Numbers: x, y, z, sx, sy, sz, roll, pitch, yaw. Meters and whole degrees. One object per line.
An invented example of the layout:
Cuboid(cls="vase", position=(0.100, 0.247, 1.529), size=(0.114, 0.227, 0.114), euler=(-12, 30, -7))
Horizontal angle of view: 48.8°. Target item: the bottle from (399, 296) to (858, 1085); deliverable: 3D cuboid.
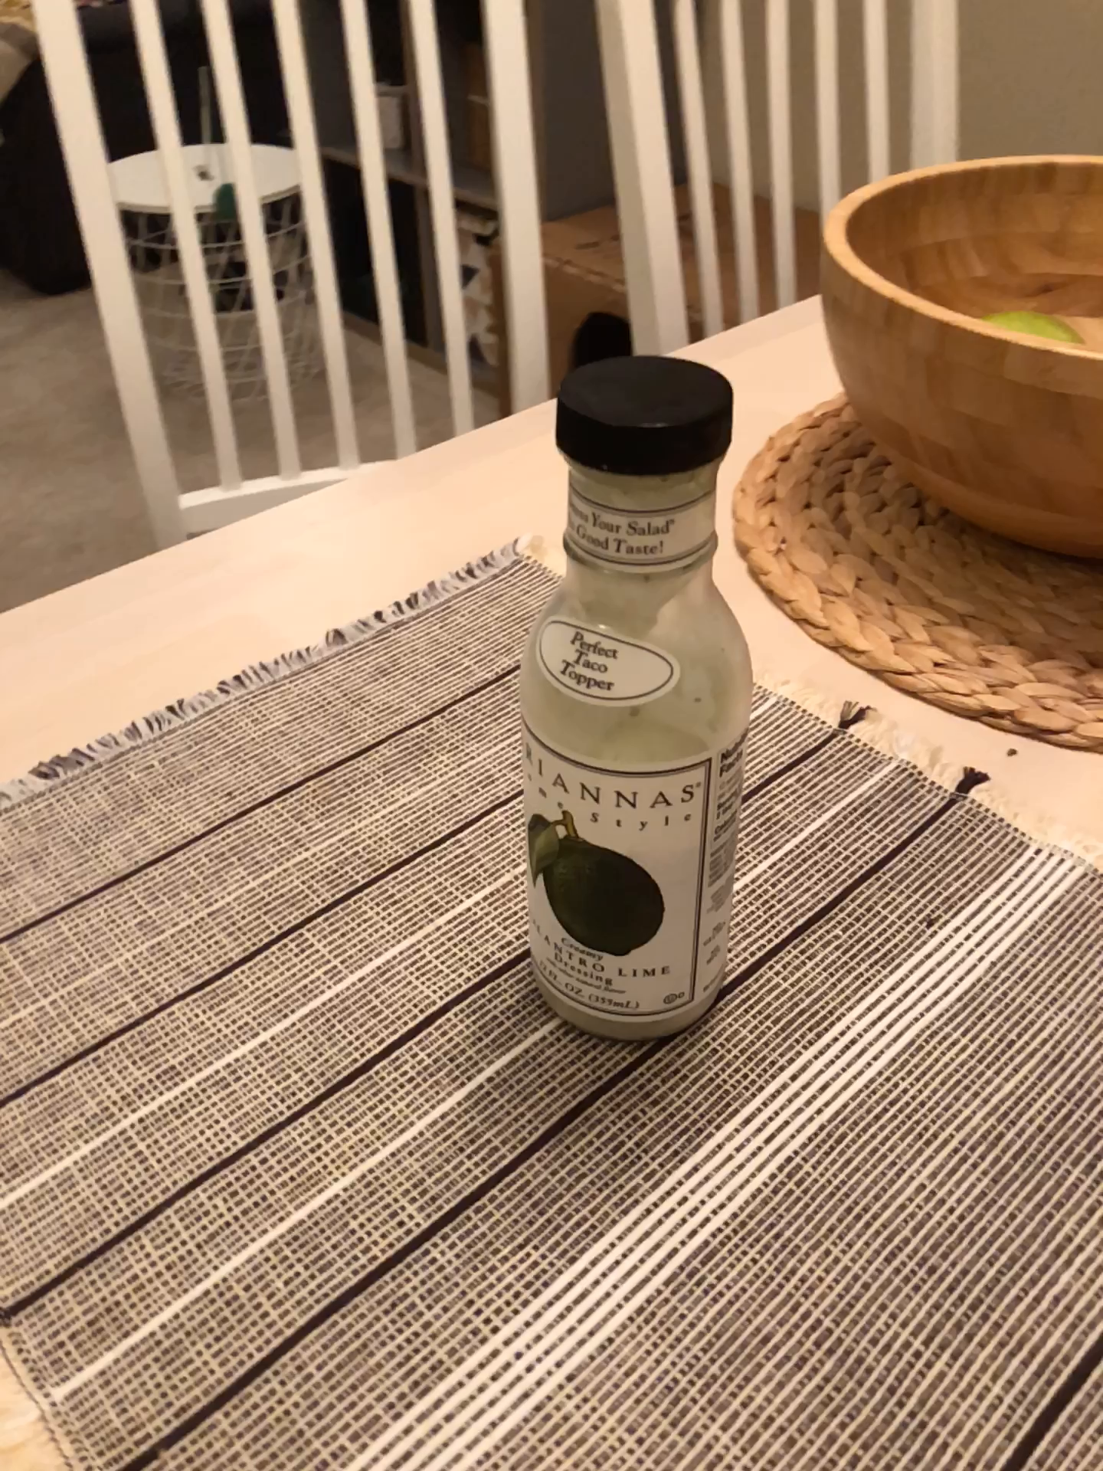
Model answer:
Cuboid(cls="bottle", position=(0.019, -0.006, 0.323), size=(0.074, 0.186, 0.070), euler=(0, 38, 0))
